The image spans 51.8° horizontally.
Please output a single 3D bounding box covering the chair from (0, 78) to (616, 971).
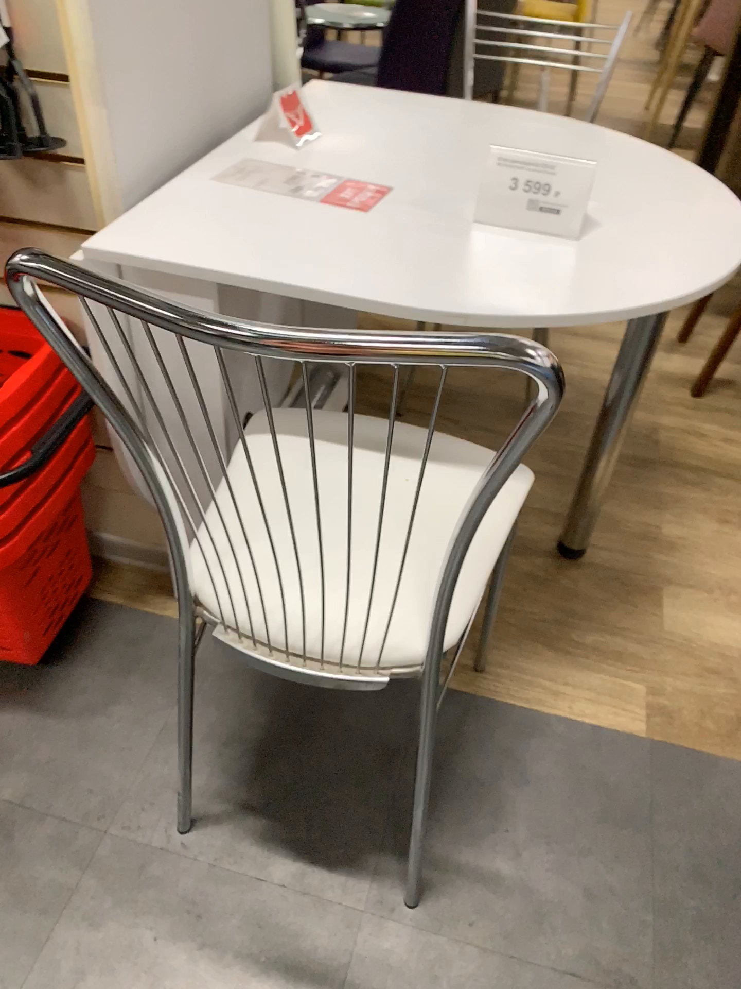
[{"bbox_3d":[-0.038,0.082,0.983,0.450,0.954,0.553,12,42,9],"label":"chair"}]
